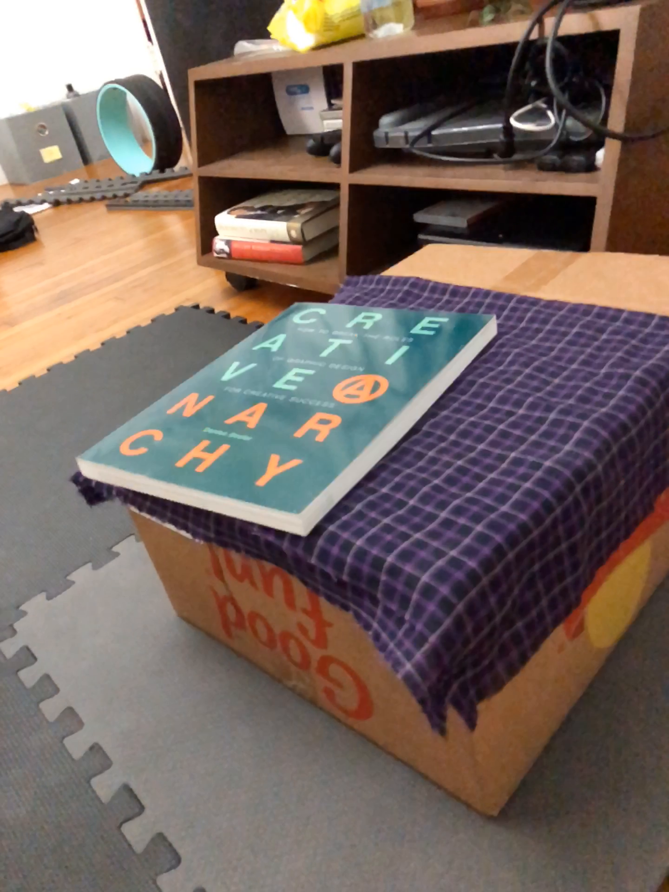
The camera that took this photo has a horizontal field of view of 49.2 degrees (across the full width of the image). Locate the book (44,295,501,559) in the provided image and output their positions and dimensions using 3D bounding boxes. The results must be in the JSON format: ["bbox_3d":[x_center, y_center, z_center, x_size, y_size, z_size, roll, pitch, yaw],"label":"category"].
[{"bbox_3d":[-0.035,-0.042,0.565,0.220,0.020,0.301,10,39,34],"label":"book"}]
